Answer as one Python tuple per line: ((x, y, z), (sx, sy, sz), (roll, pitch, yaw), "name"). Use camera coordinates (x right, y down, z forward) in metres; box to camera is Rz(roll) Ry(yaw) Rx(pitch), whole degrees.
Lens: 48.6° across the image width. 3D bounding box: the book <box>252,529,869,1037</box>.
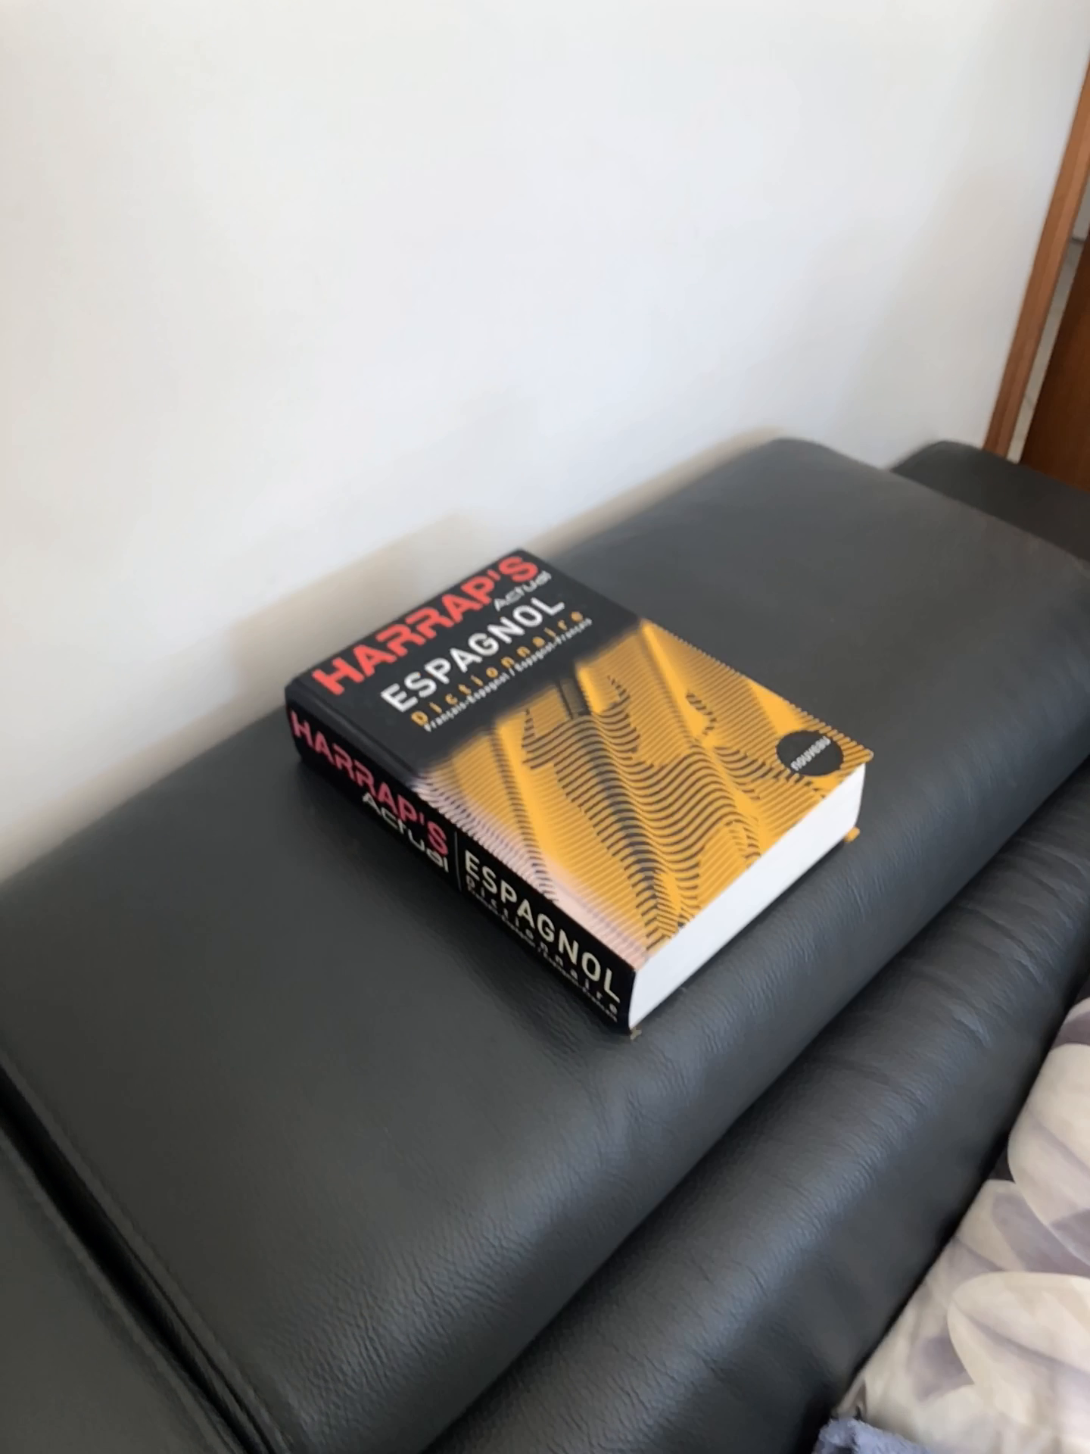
((0.003, 0.009, 0.633), (0.186, 0.050, 0.260), (-35, 54, -30), "book")
